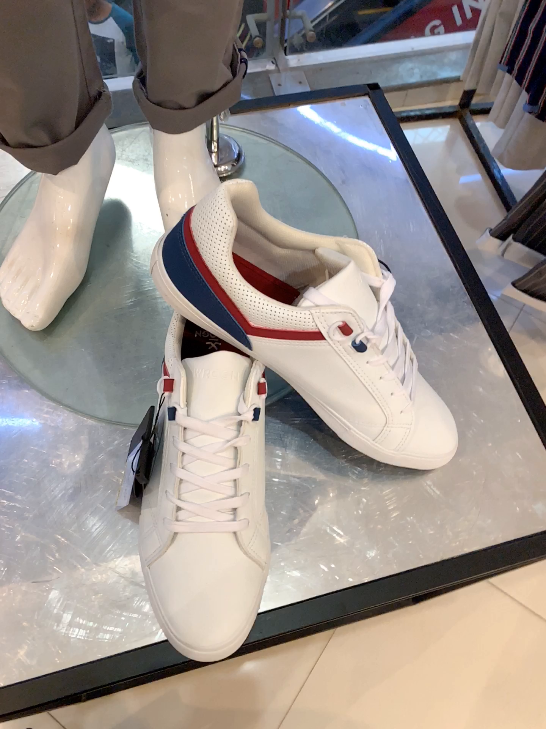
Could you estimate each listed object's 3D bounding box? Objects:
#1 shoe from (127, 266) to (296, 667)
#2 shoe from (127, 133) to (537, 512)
[{"bbox_3d":[-0.047,0.072,0.438,0.100,0.100,0.281,4,64,-10],"label":"shoe"},{"bbox_3d":[0.043,-0.023,0.420,0.280,0.100,0.100,38,57,-4],"label":"shoe"}]
